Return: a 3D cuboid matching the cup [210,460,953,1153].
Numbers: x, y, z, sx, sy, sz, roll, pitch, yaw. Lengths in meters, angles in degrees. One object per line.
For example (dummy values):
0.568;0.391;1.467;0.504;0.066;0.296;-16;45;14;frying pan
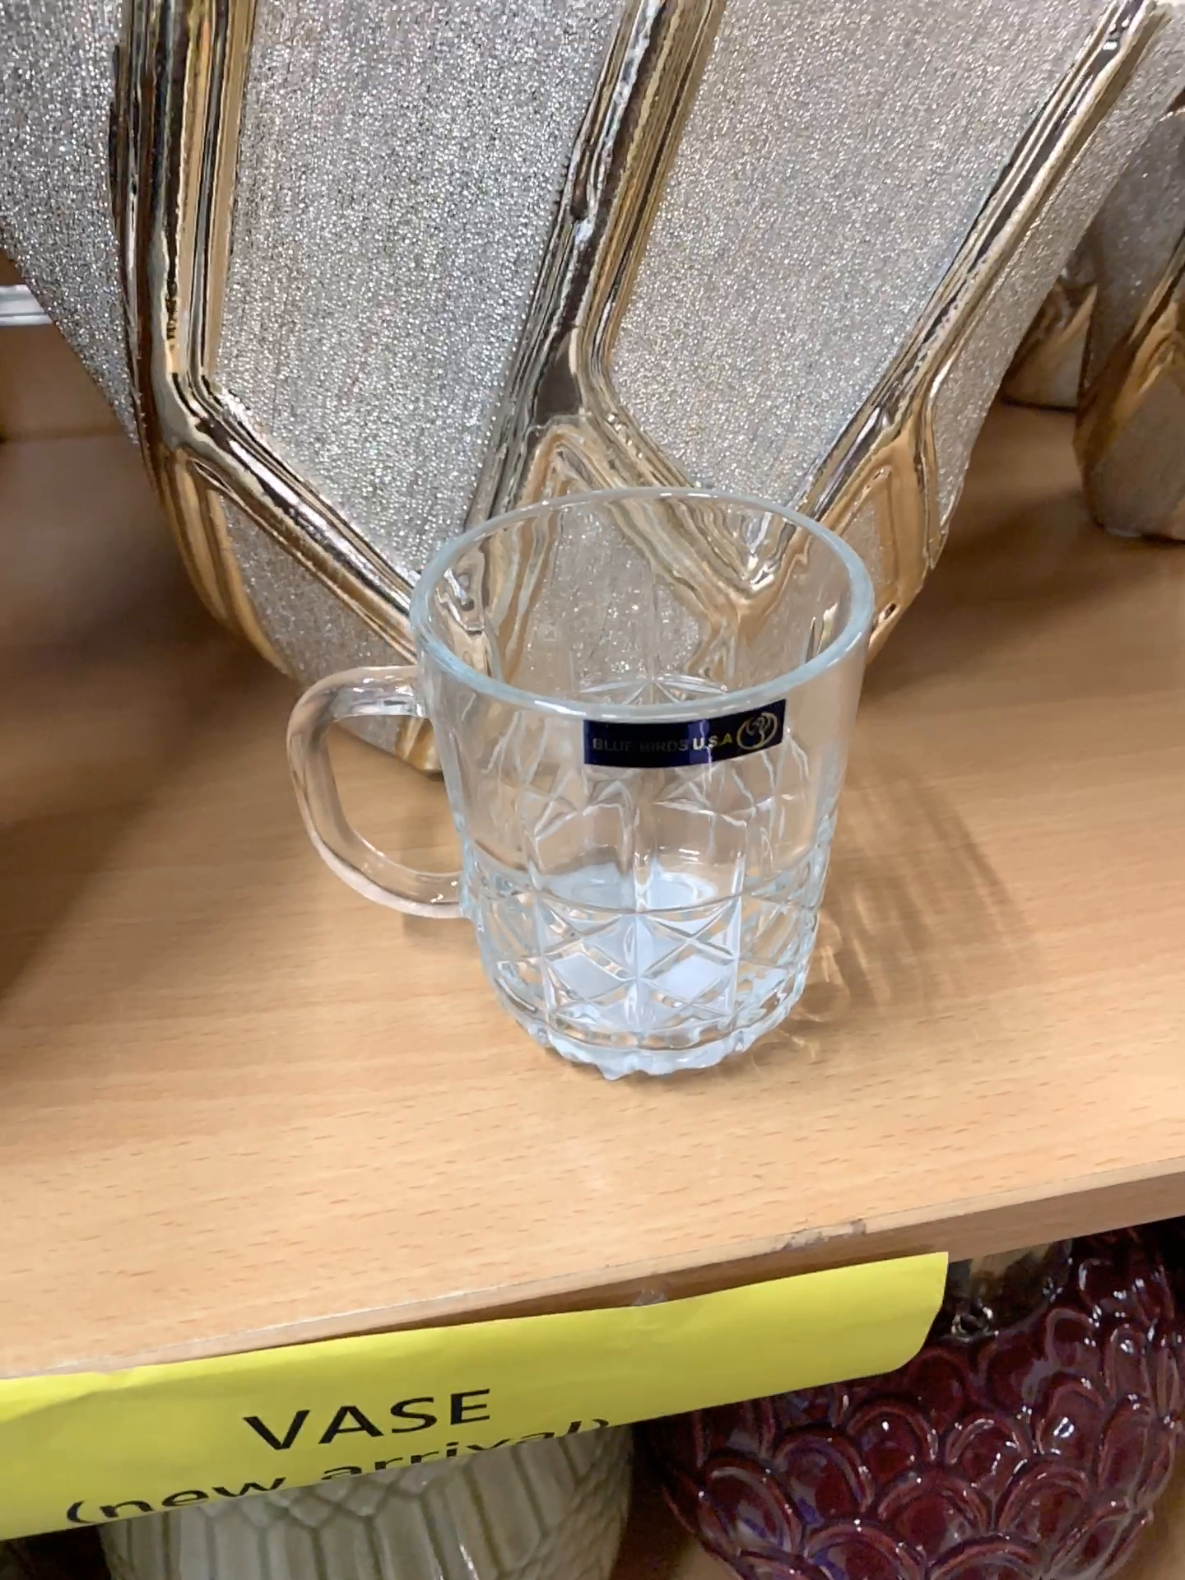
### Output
-0.003;0.001;0.219;0.100;0.090;0.070;-6;36;-5;cup
